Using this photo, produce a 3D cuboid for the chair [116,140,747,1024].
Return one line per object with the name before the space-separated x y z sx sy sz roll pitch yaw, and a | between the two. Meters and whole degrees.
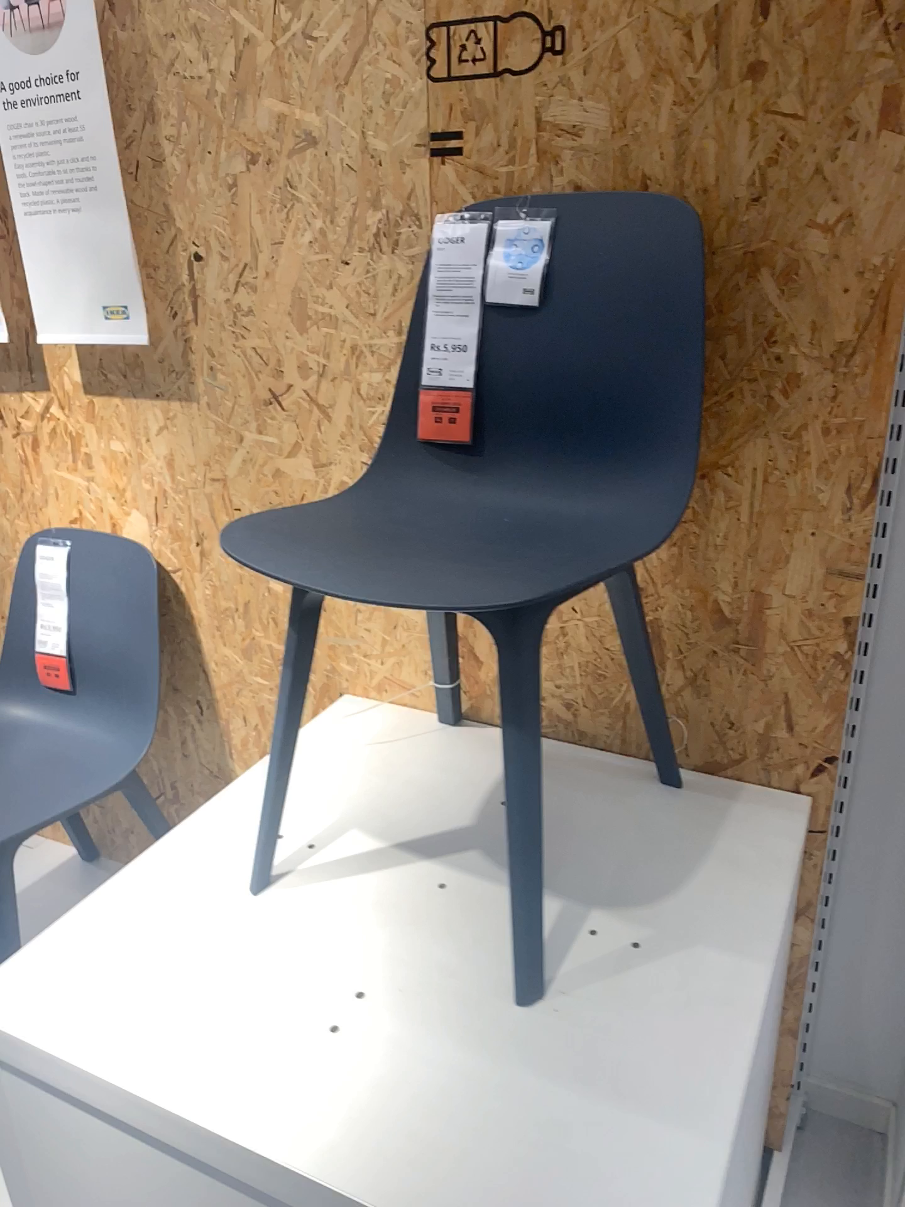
chair | 0.021 -0.070 1.060 0.431 0.767 0.501 11 24 29
